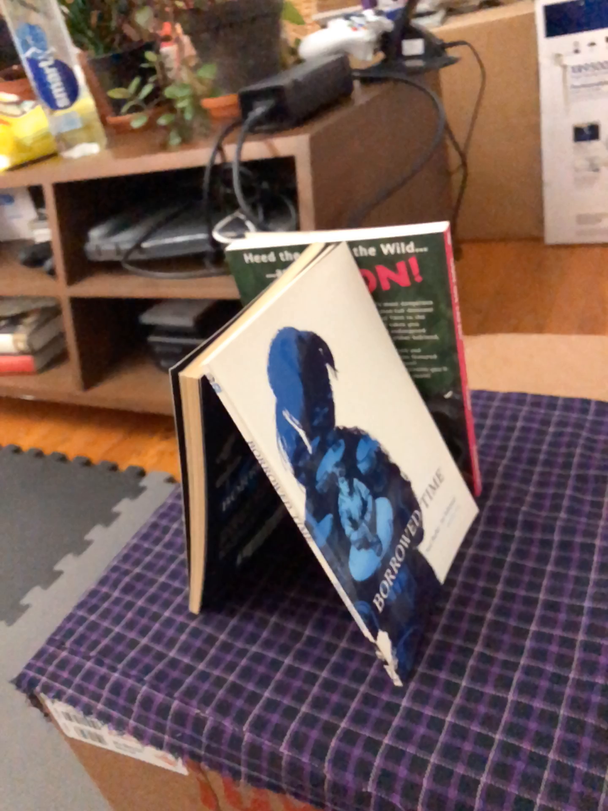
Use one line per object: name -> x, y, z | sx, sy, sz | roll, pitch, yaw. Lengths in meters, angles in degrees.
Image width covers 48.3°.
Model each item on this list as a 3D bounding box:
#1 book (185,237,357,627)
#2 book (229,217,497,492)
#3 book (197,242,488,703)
book -> -0.020, 0.020, 0.406 | 0.010, 0.199, 0.151 | 24, 44, 18
book -> 0.044, -0.026, 0.441 | 0.140, 0.189, 0.020 | 4, 41, 28
book -> 0.037, 0.030, 0.361 | 0.010, 0.199, 0.141 | -15, 23, 38
